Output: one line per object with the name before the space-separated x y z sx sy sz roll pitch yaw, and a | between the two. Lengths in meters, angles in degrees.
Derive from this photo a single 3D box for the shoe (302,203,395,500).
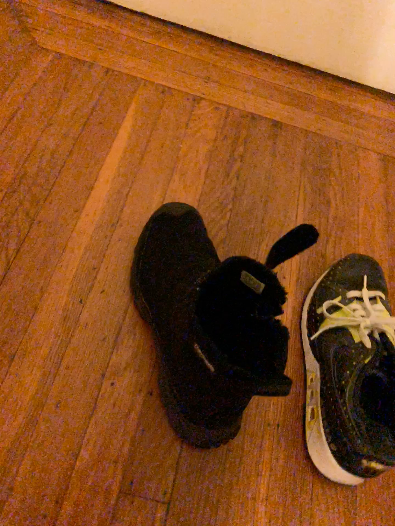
shoe | 0.196 0.090 0.457 0.120 0.100 0.291 12 60 -6

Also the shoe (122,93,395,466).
shoe | 0.024 0.026 0.436 0.160 0.239 0.311 -6 64 -16
